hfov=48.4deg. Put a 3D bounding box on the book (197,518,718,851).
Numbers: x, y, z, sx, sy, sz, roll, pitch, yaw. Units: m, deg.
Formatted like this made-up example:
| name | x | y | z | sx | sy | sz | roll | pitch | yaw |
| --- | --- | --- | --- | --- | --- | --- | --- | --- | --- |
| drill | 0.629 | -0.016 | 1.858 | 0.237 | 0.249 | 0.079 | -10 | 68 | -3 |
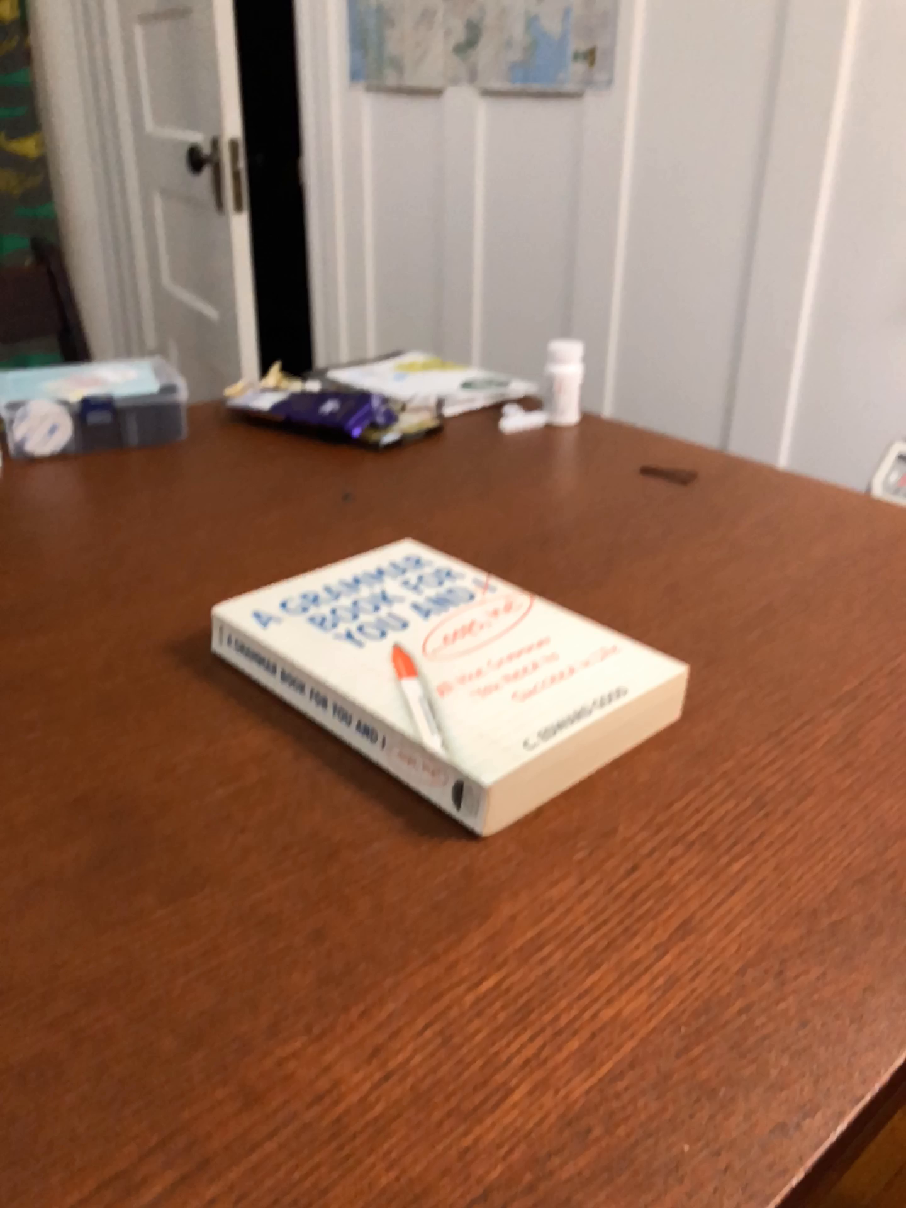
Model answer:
| name | x | y | z | sx | sy | sz | roll | pitch | yaw |
| --- | --- | --- | --- | --- | --- | --- | --- | --- | --- |
| book | -0.004 | 0.025 | 0.569 | 0.171 | 0.040 | 0.241 | -22 | 35 | -38 |
